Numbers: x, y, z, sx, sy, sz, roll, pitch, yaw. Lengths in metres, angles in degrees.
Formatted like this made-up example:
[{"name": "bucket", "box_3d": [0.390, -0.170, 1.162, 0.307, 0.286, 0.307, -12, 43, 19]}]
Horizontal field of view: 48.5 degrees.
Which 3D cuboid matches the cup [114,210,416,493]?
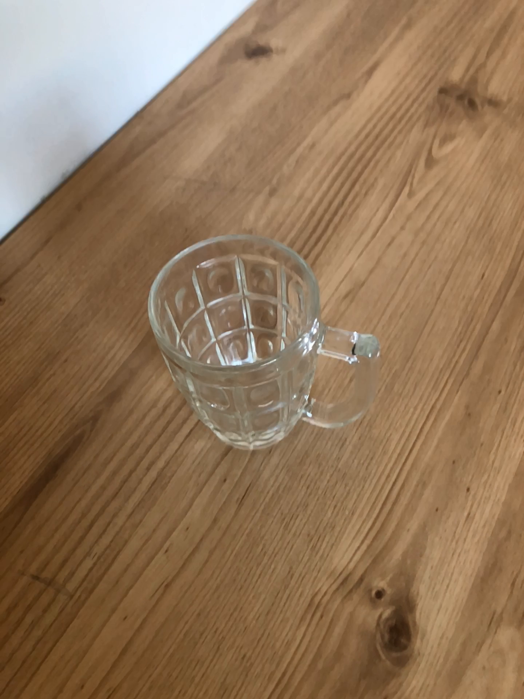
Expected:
[{"name": "cup", "box_3d": [0.008, 0.003, 0.314, 0.119, 0.102, 0.089, 14, 61, 14]}]
